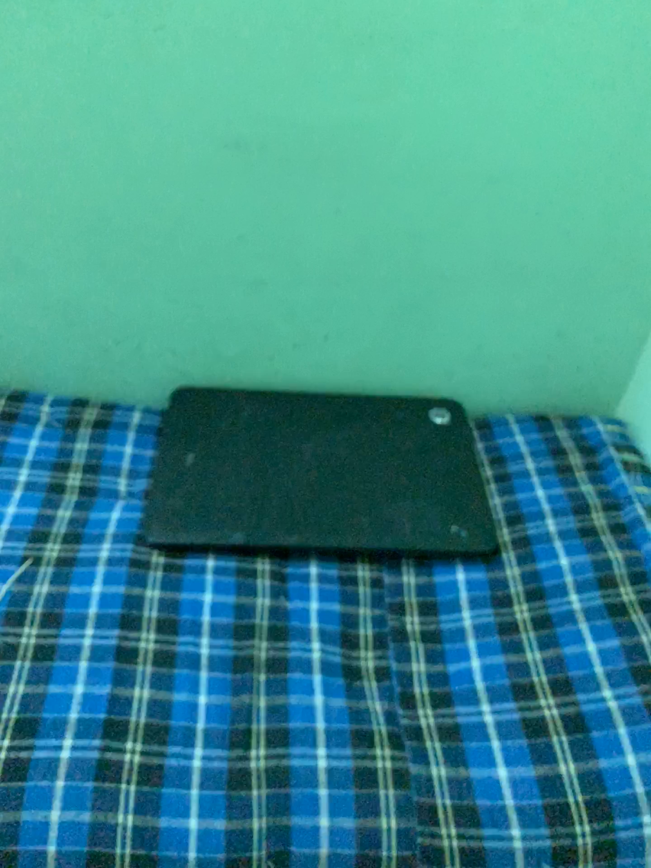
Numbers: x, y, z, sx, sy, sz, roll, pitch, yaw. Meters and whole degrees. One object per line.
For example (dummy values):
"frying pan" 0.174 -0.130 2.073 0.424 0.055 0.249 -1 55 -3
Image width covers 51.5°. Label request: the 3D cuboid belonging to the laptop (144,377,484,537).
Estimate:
"laptop" -0.011 0.020 0.768 0.346 0.018 0.217 2 44 -5
